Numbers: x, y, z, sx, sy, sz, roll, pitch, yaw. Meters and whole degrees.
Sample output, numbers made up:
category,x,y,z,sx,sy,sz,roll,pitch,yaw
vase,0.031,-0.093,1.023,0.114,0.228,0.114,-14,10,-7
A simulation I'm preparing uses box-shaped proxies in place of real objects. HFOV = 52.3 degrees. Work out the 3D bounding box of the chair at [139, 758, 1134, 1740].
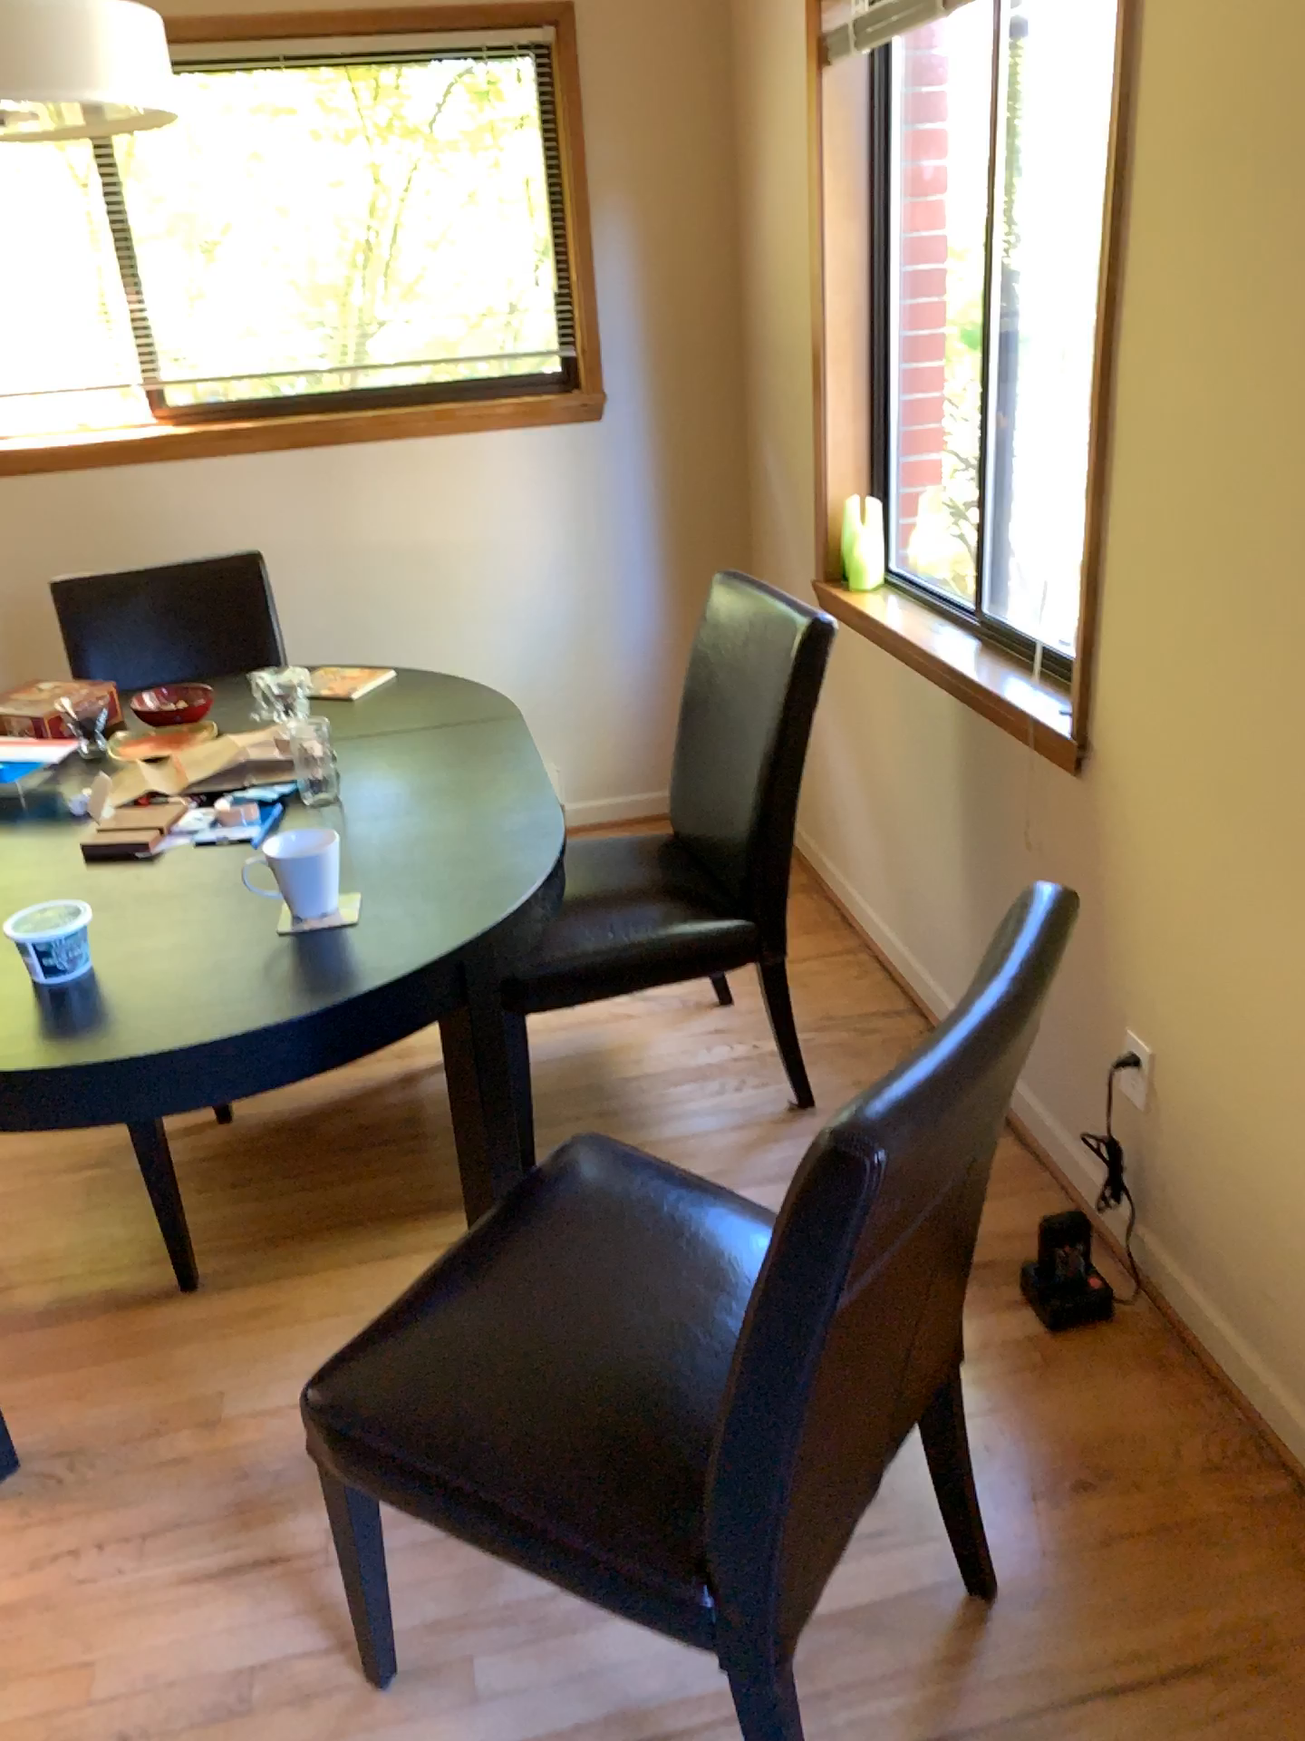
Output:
category,x,y,z,sx,sy,sz,roll,pitch,yaw
chair,0.053,0.535,1.392,0.652,1.084,0.622,11,28,30
